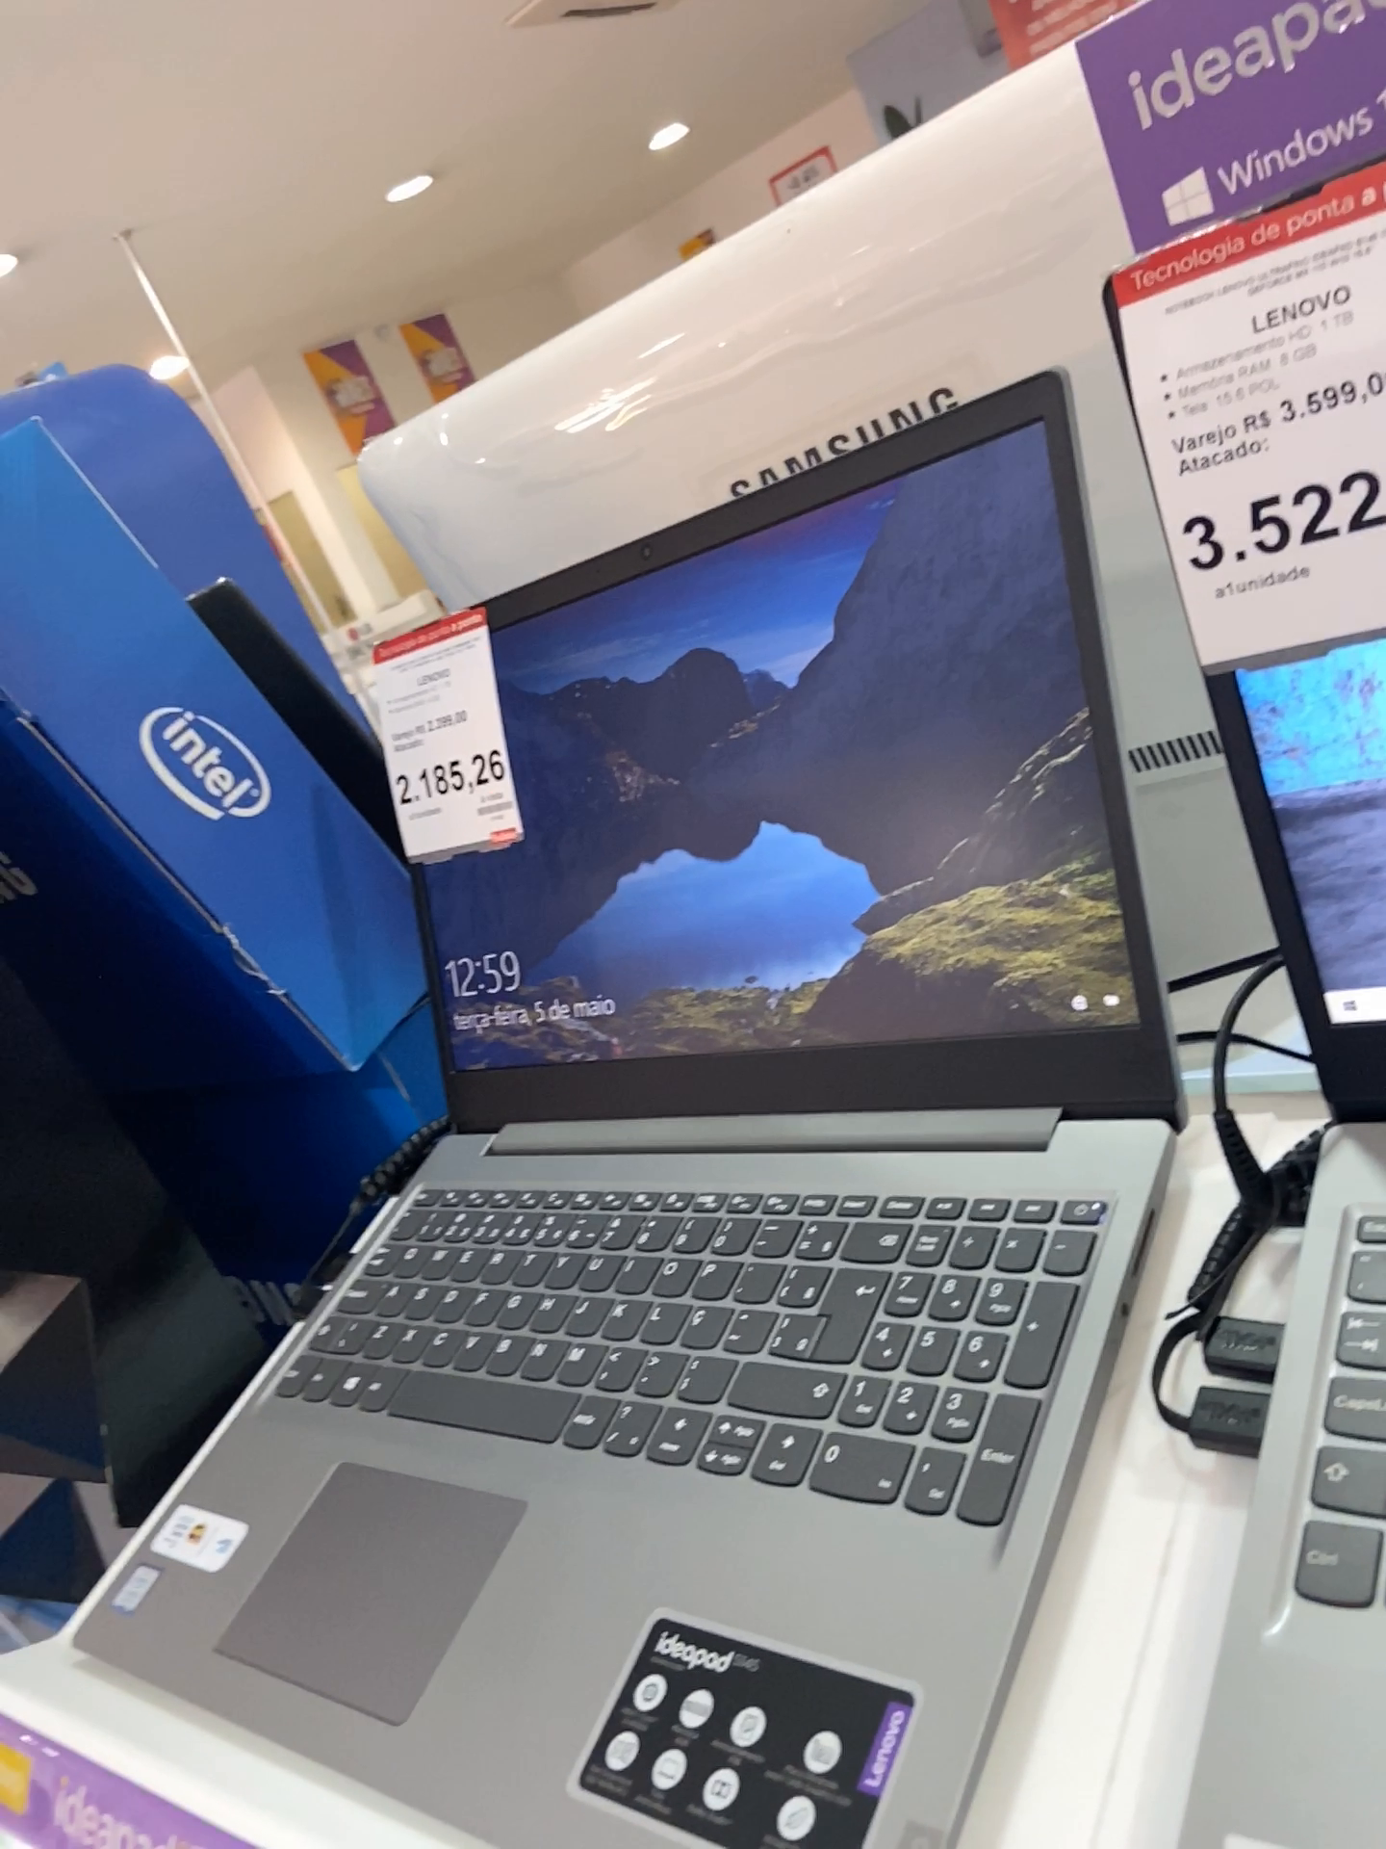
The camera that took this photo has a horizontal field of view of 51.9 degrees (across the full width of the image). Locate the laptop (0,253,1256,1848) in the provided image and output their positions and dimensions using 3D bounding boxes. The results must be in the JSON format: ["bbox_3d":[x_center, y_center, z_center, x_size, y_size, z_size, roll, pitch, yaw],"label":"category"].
[{"bbox_3d":[-0.056,0.020,0.492,0.358,0.212,0.389,-9,32,41],"label":"laptop"}]
